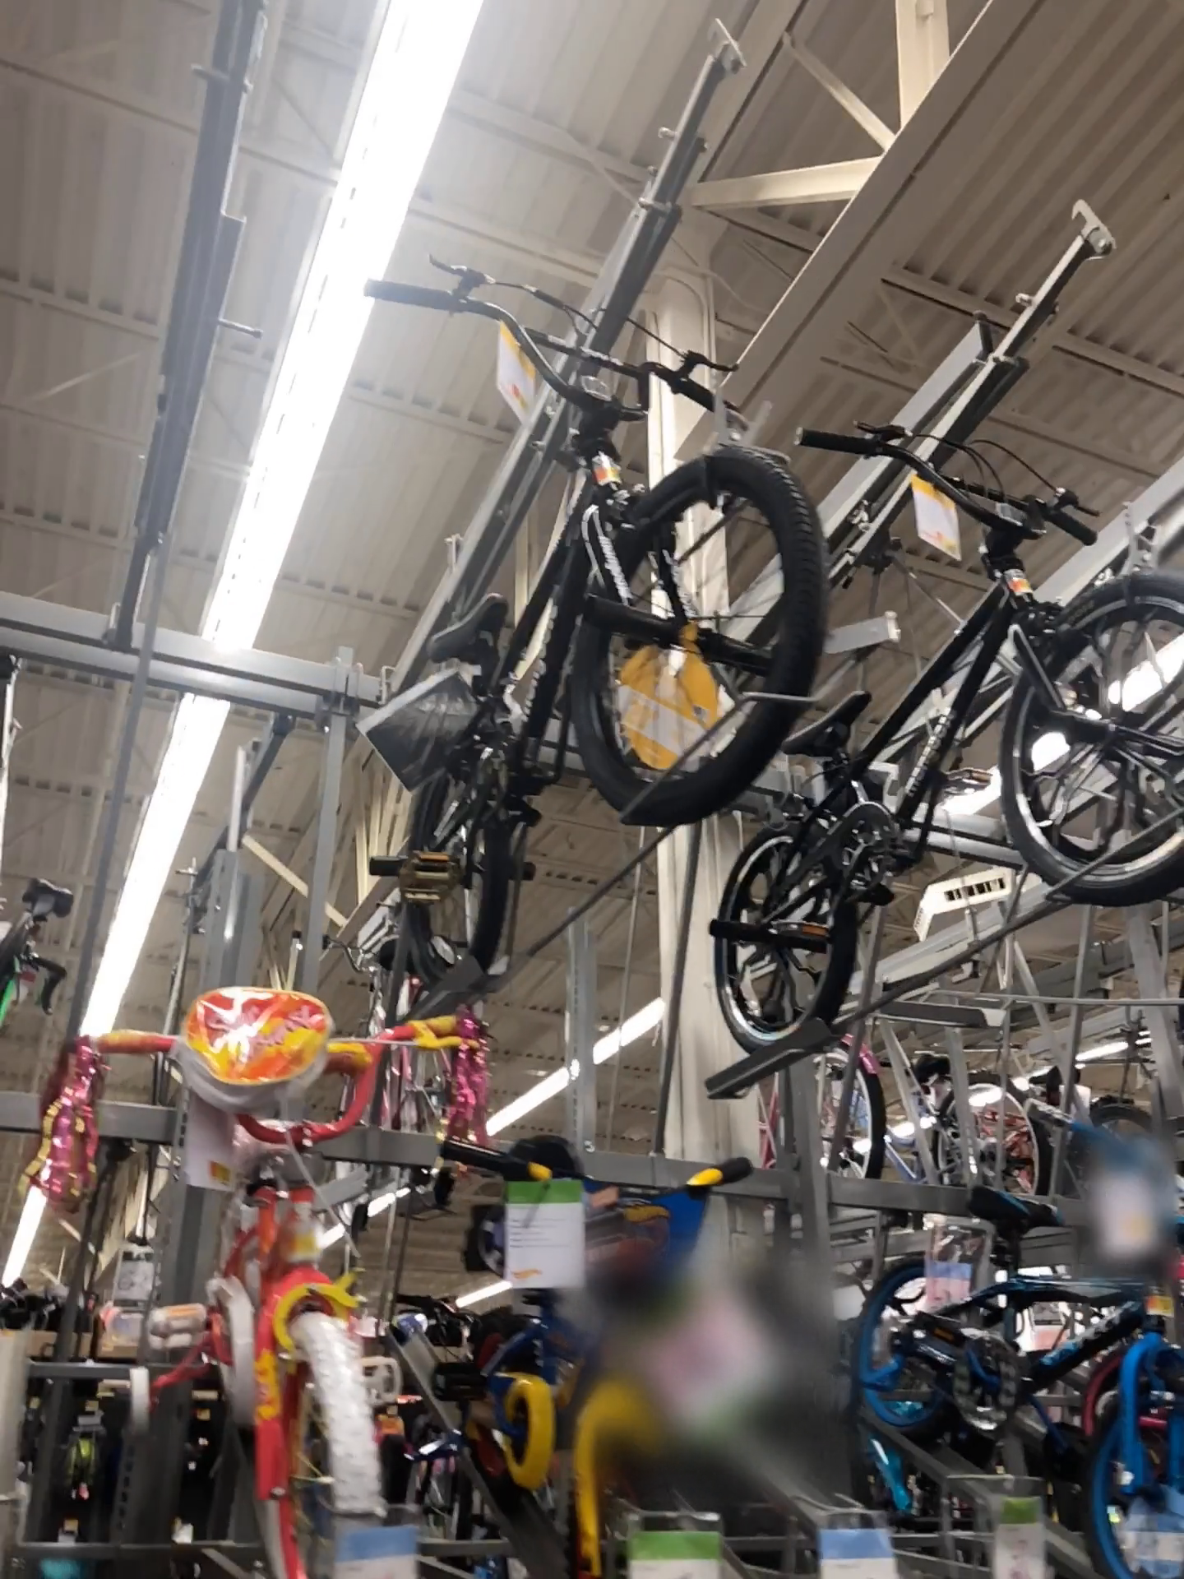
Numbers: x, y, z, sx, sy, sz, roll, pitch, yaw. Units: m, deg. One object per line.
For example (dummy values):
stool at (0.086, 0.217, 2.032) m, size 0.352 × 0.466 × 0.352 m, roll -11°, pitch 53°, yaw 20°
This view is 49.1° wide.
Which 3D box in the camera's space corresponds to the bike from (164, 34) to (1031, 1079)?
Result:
bike at (-0.125, -0.191, 2.095) m, size 0.753 × 0.909 × 1.346 m, roll 12°, pitch -30°, yaw -21°
